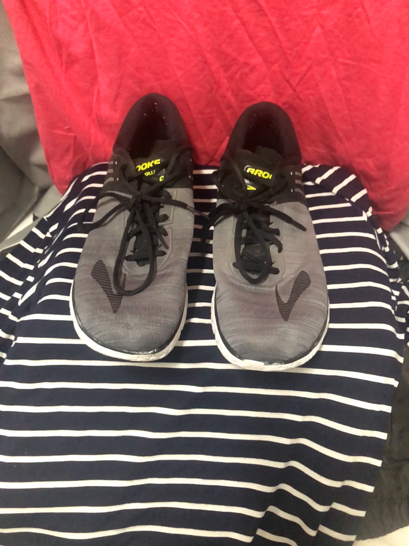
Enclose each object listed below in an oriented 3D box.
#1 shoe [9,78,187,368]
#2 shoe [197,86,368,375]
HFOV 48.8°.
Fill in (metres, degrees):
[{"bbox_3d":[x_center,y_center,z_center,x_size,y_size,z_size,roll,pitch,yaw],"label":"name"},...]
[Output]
[{"bbox_3d":[-0.070,-0.066,0.402,0.102,0.079,0.292,0,49,-1],"label":"shoe"},{"bbox_3d":[0.048,-0.058,0.397,0.104,0.079,0.282,1,49,0],"label":"shoe"}]
